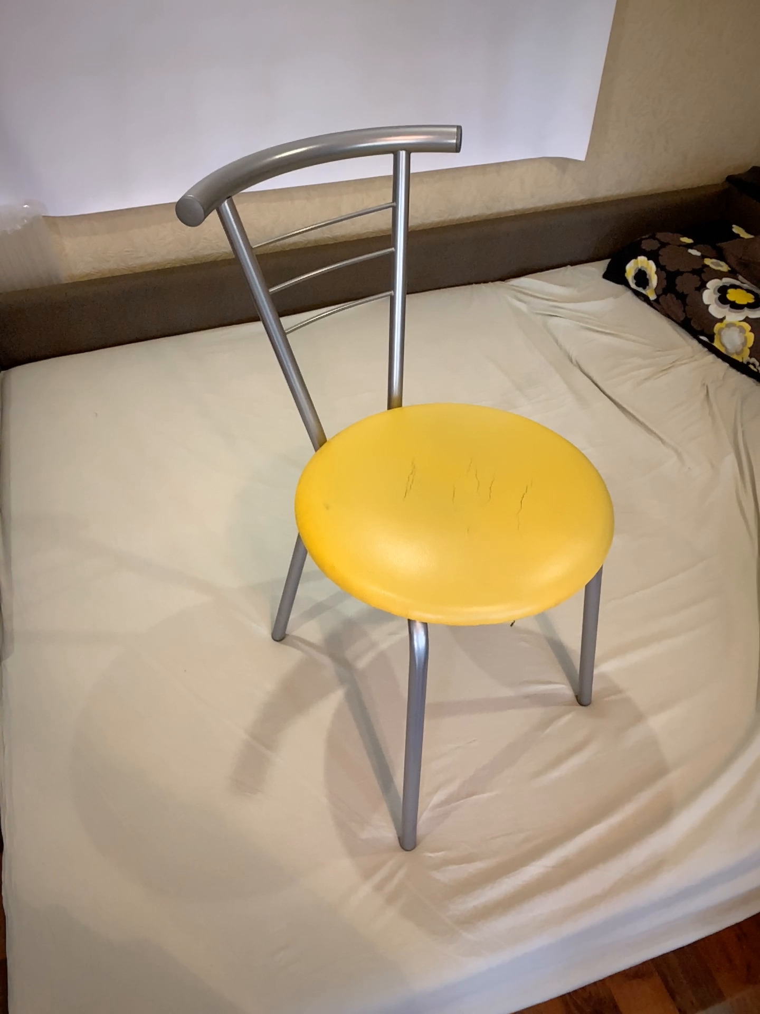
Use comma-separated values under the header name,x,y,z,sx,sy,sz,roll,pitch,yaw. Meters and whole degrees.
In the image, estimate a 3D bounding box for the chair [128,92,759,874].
name,x,y,z,sx,sy,sz,roll,pitch,yaw
chair,0.074,-0.021,1.019,0.462,0.763,0.503,-28,51,-26
